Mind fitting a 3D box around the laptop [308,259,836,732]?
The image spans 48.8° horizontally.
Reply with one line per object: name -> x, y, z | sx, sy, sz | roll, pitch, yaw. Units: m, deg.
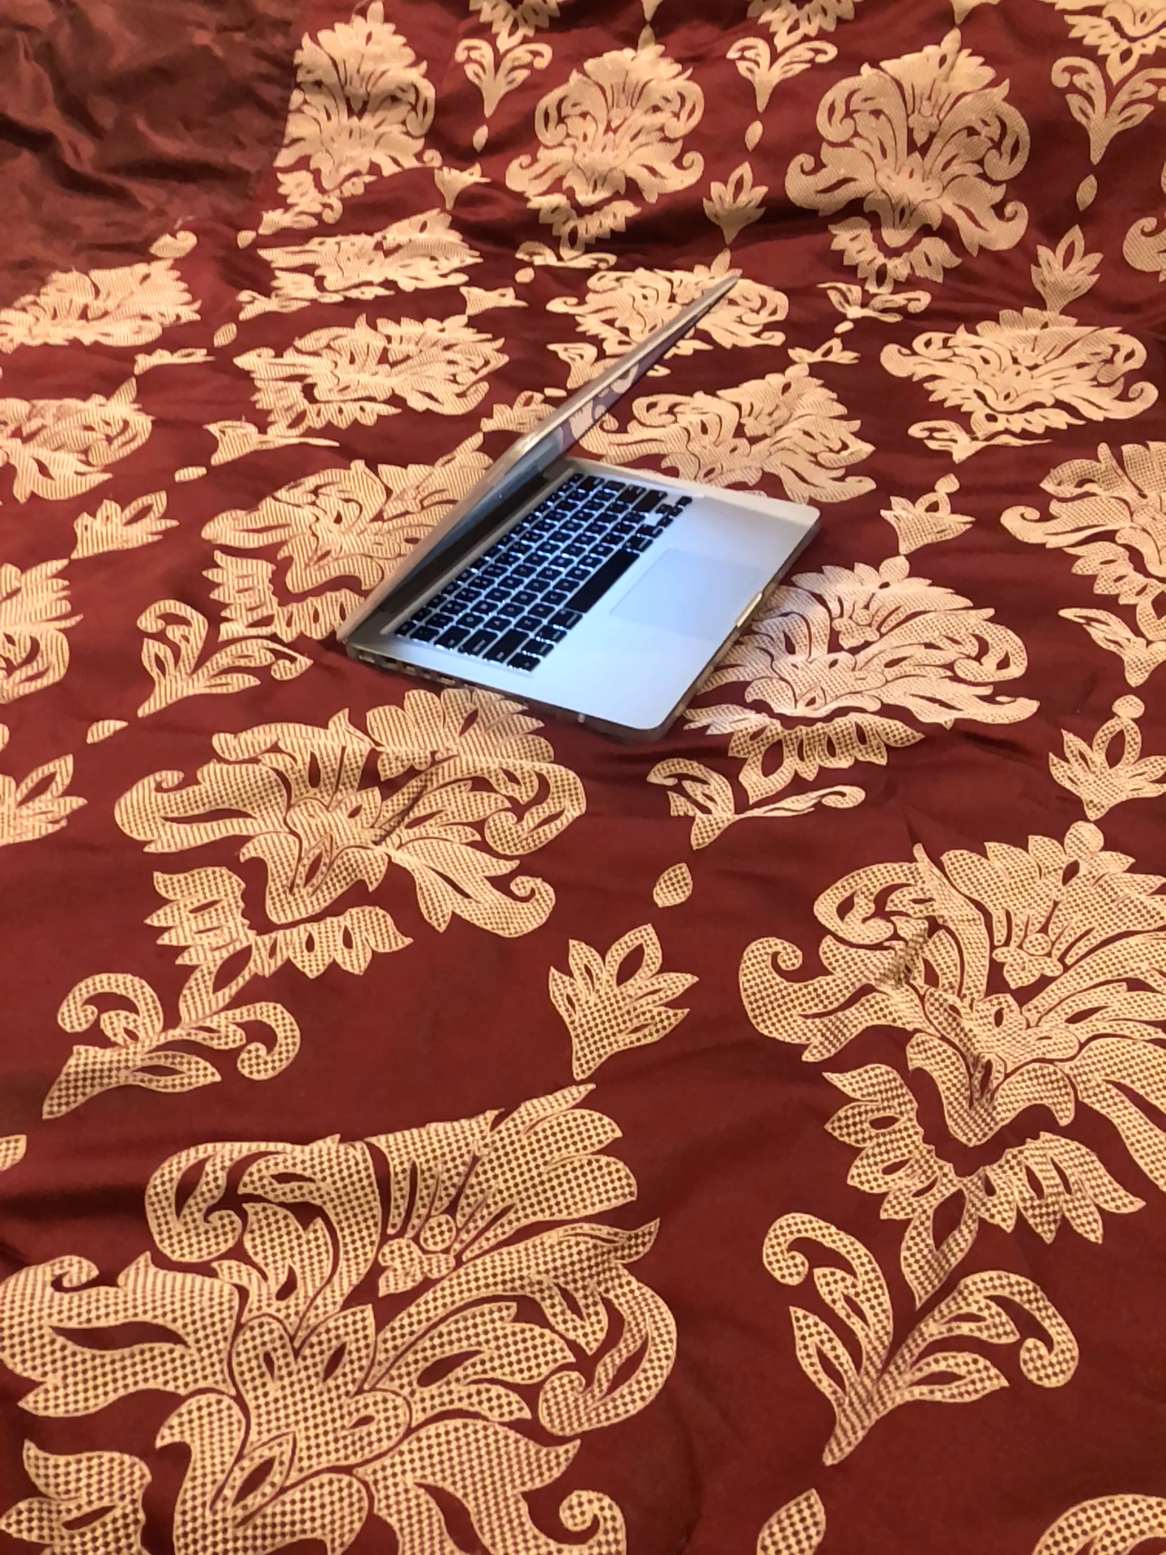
laptop -> 0.011, -0.202, 0.833 | 0.212, 0.156, 0.313 | 16, 40, 20
